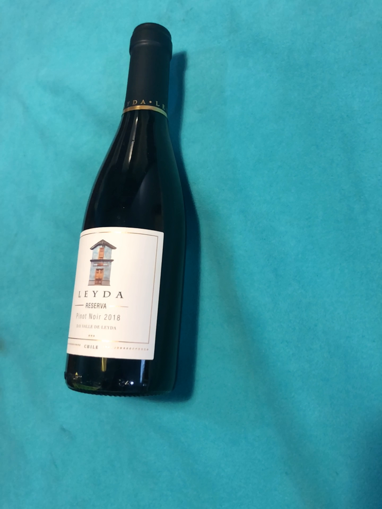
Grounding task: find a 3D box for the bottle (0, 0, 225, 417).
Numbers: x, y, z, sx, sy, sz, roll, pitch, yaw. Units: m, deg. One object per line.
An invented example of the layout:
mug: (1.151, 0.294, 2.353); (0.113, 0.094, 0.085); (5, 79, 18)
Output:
bottle: (-0.040, -0.054, 0.248); (0.070, 0.080, 0.260); (1, 82, 32)
